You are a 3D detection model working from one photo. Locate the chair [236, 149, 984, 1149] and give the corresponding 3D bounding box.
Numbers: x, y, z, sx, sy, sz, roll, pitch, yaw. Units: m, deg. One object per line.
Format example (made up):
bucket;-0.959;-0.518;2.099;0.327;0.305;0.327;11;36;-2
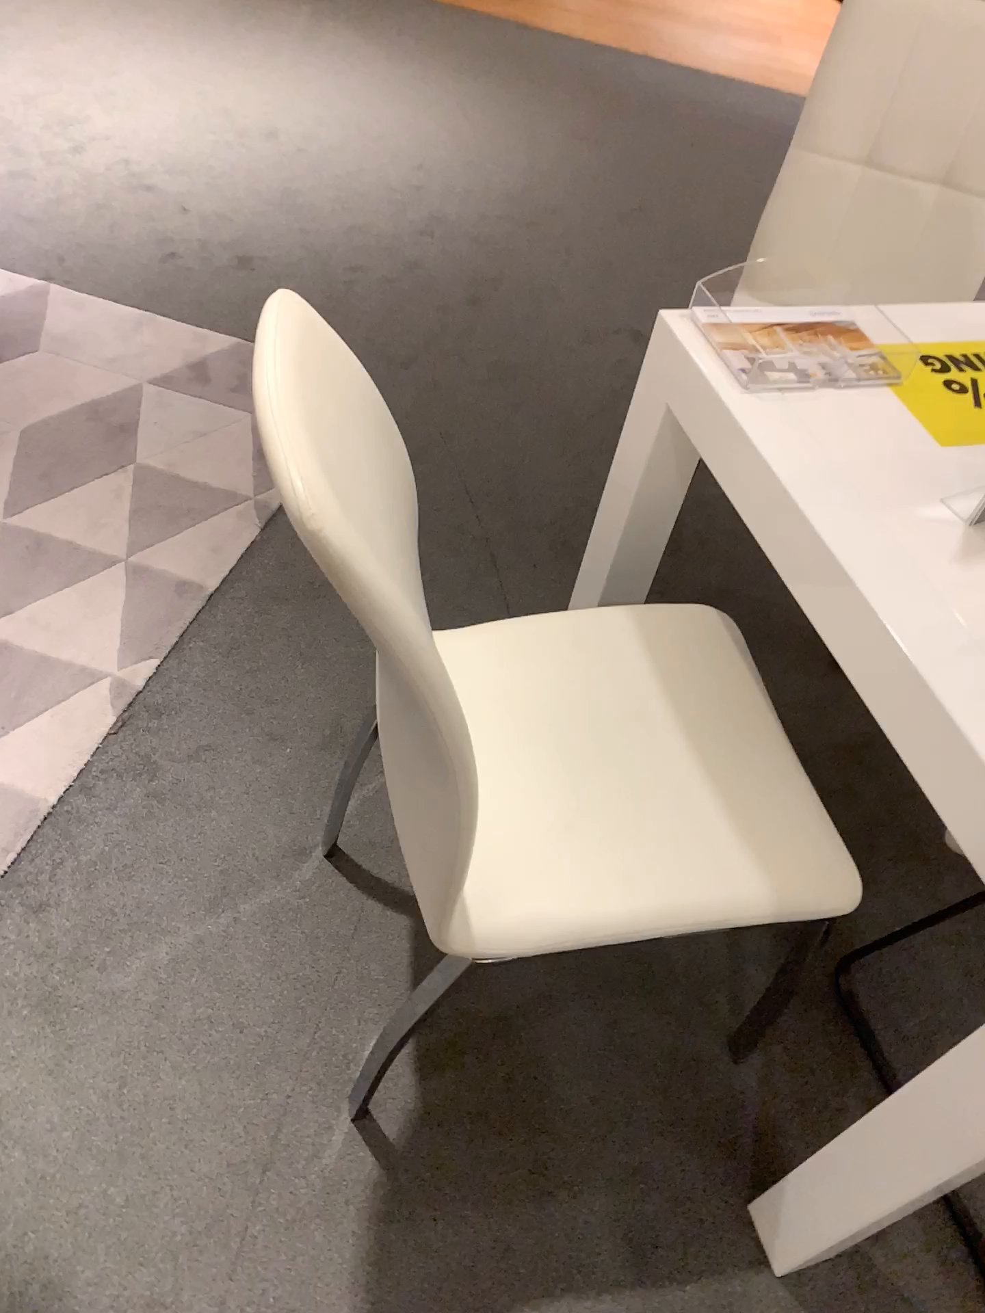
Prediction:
chair;0.086;0.075;1.073;0.644;0.956;0.483;-3;50;-14
